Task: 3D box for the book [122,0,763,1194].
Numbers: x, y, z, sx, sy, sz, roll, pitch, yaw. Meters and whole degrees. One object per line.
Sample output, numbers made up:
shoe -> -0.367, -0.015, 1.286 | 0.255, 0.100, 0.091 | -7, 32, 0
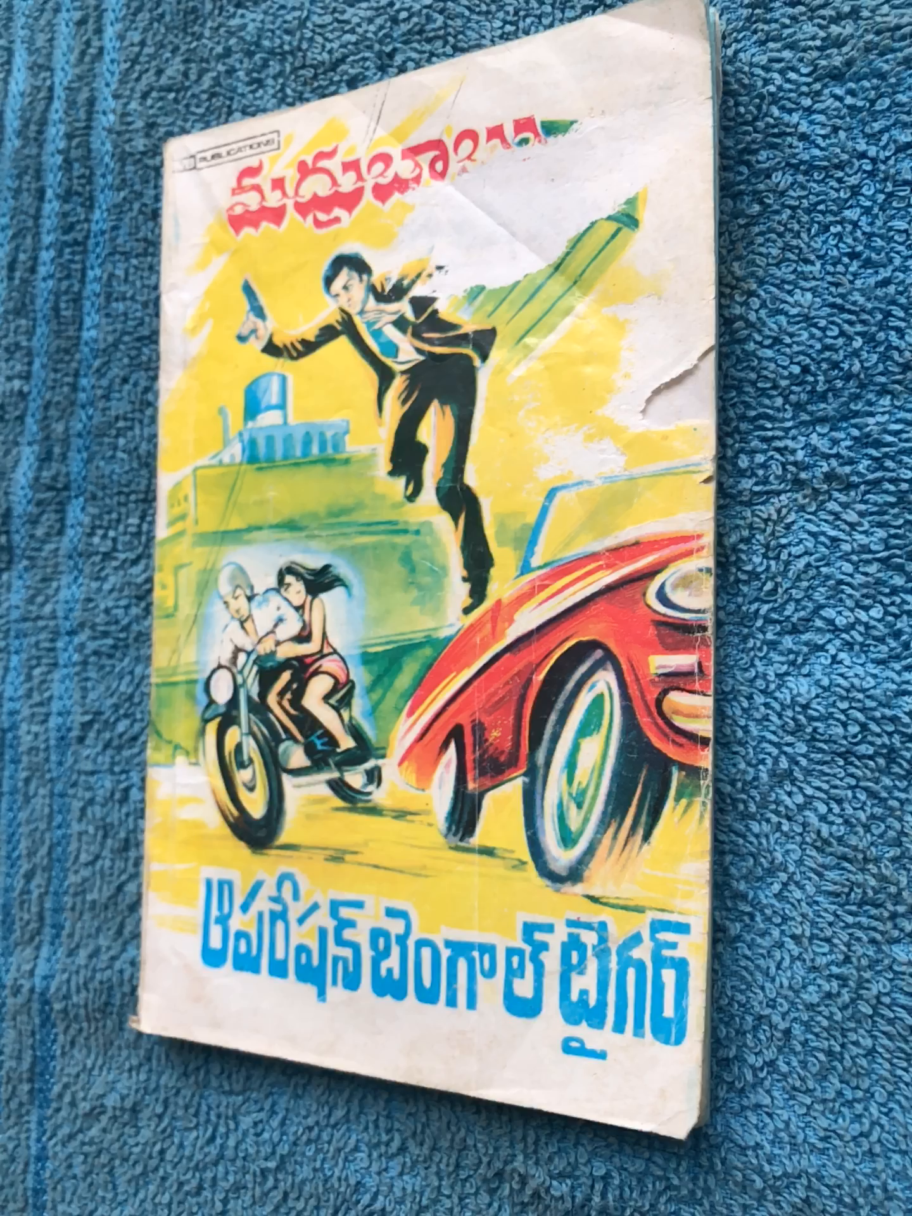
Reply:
book -> -0.004, -0.005, 0.166 | 0.100, 0.020, 0.160 | -1, 86, 24
